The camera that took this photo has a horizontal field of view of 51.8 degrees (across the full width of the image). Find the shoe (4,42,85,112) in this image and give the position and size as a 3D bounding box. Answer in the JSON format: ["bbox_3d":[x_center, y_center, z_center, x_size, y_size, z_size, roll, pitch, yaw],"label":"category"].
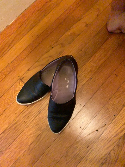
[{"bbox_3d":[-0.056,-0.019,0.460,0.260,0.080,0.100,-36,74,-5],"label":"shoe"}]

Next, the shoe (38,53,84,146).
[{"bbox_3d":[-0.001,0.044,0.397,0.100,0.080,0.250,8,96,8],"label":"shoe"}]
